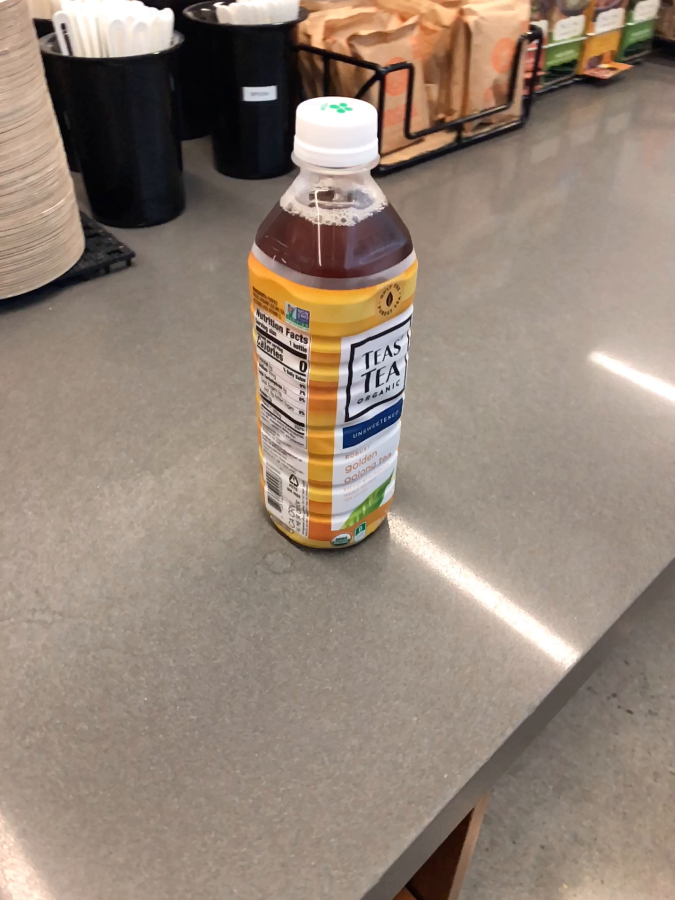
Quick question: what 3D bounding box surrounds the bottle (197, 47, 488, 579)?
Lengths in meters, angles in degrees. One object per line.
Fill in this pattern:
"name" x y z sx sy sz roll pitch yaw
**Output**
"bottle" 0.000 -0.049 0.319 0.070 0.199 0.070 1 40 -1
